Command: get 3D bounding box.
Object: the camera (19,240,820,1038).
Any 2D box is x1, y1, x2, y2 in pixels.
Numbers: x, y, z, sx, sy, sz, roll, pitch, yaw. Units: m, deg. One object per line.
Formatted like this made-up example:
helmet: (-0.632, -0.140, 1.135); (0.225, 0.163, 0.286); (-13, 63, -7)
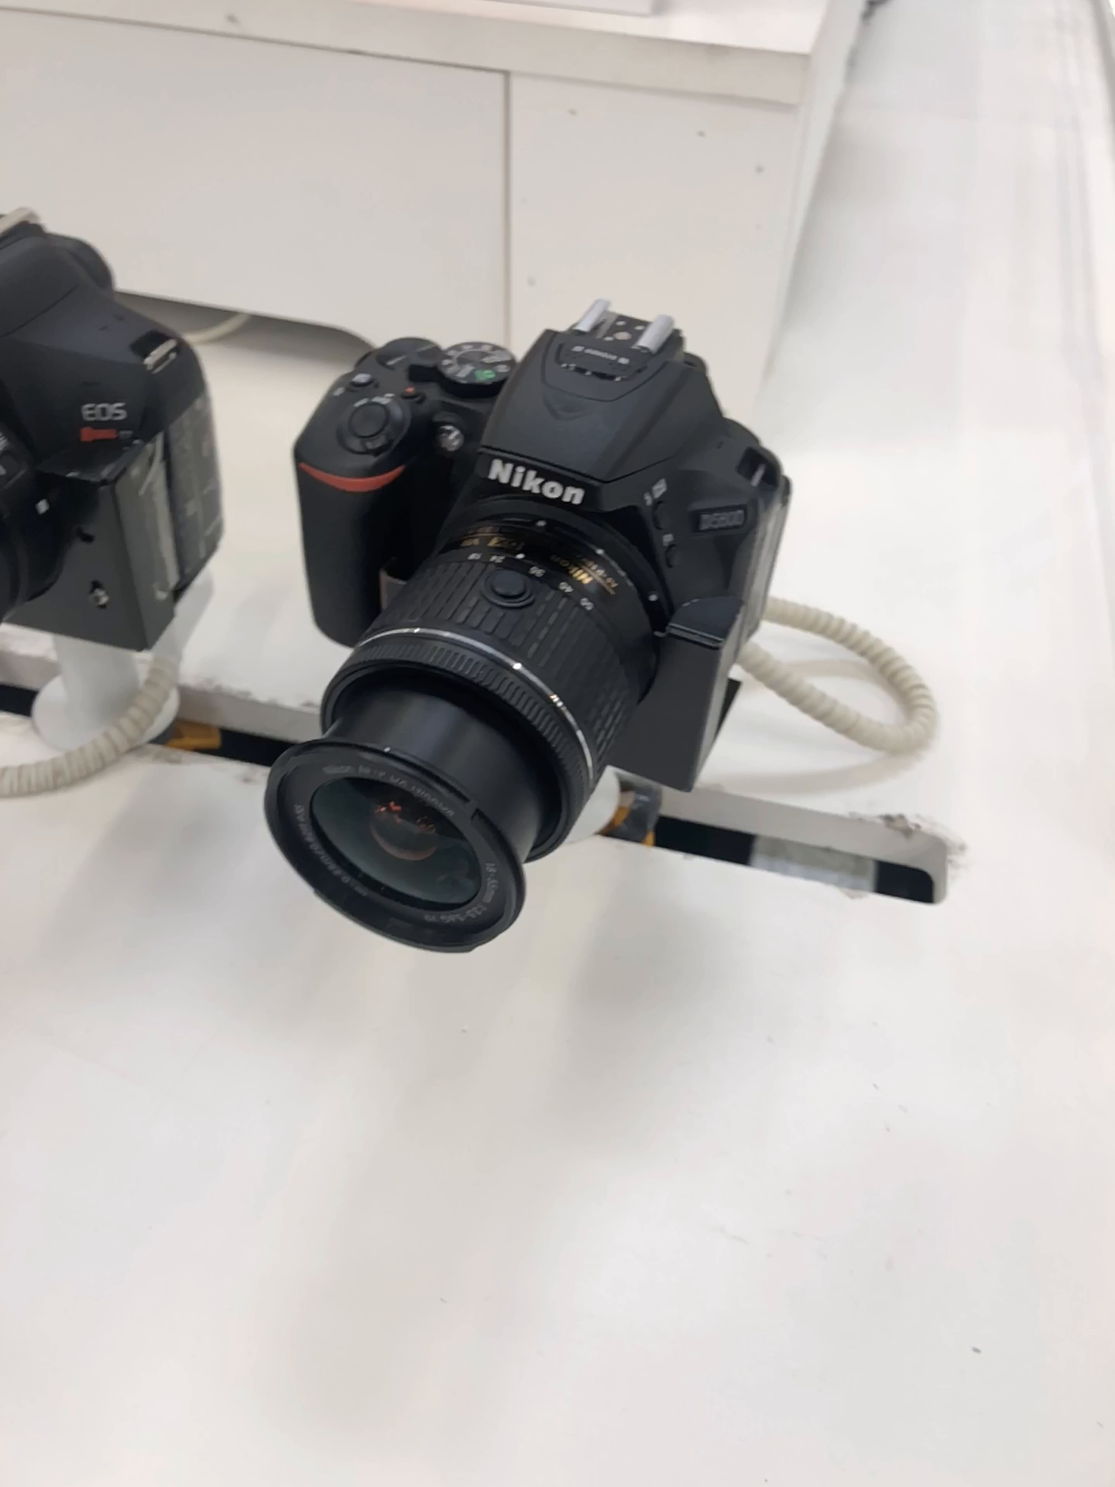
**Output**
camera: (-0.018, -0.035, 0.292); (0.120, 0.089, 0.151); (14, 46, 10)
